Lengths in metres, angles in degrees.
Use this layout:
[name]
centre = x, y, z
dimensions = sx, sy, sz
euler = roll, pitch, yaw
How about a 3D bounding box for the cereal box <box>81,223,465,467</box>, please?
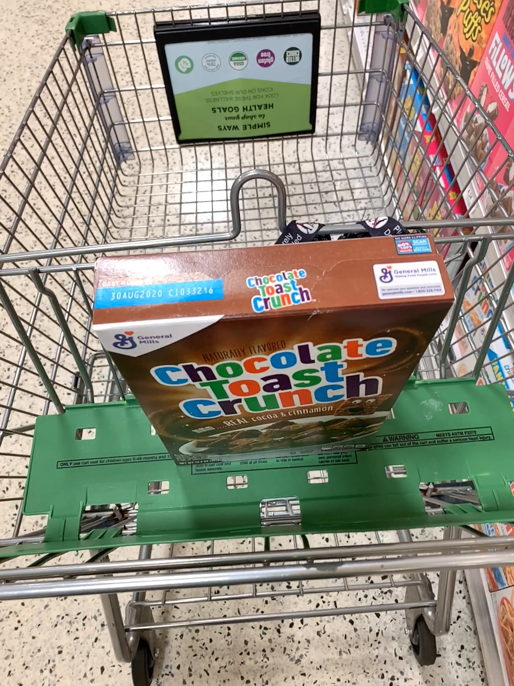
[cereal box]
centre = 0.010, 0.027, 0.409
dimensions = 0.200, 0.278, 0.050
euler = -5, 62, -1
